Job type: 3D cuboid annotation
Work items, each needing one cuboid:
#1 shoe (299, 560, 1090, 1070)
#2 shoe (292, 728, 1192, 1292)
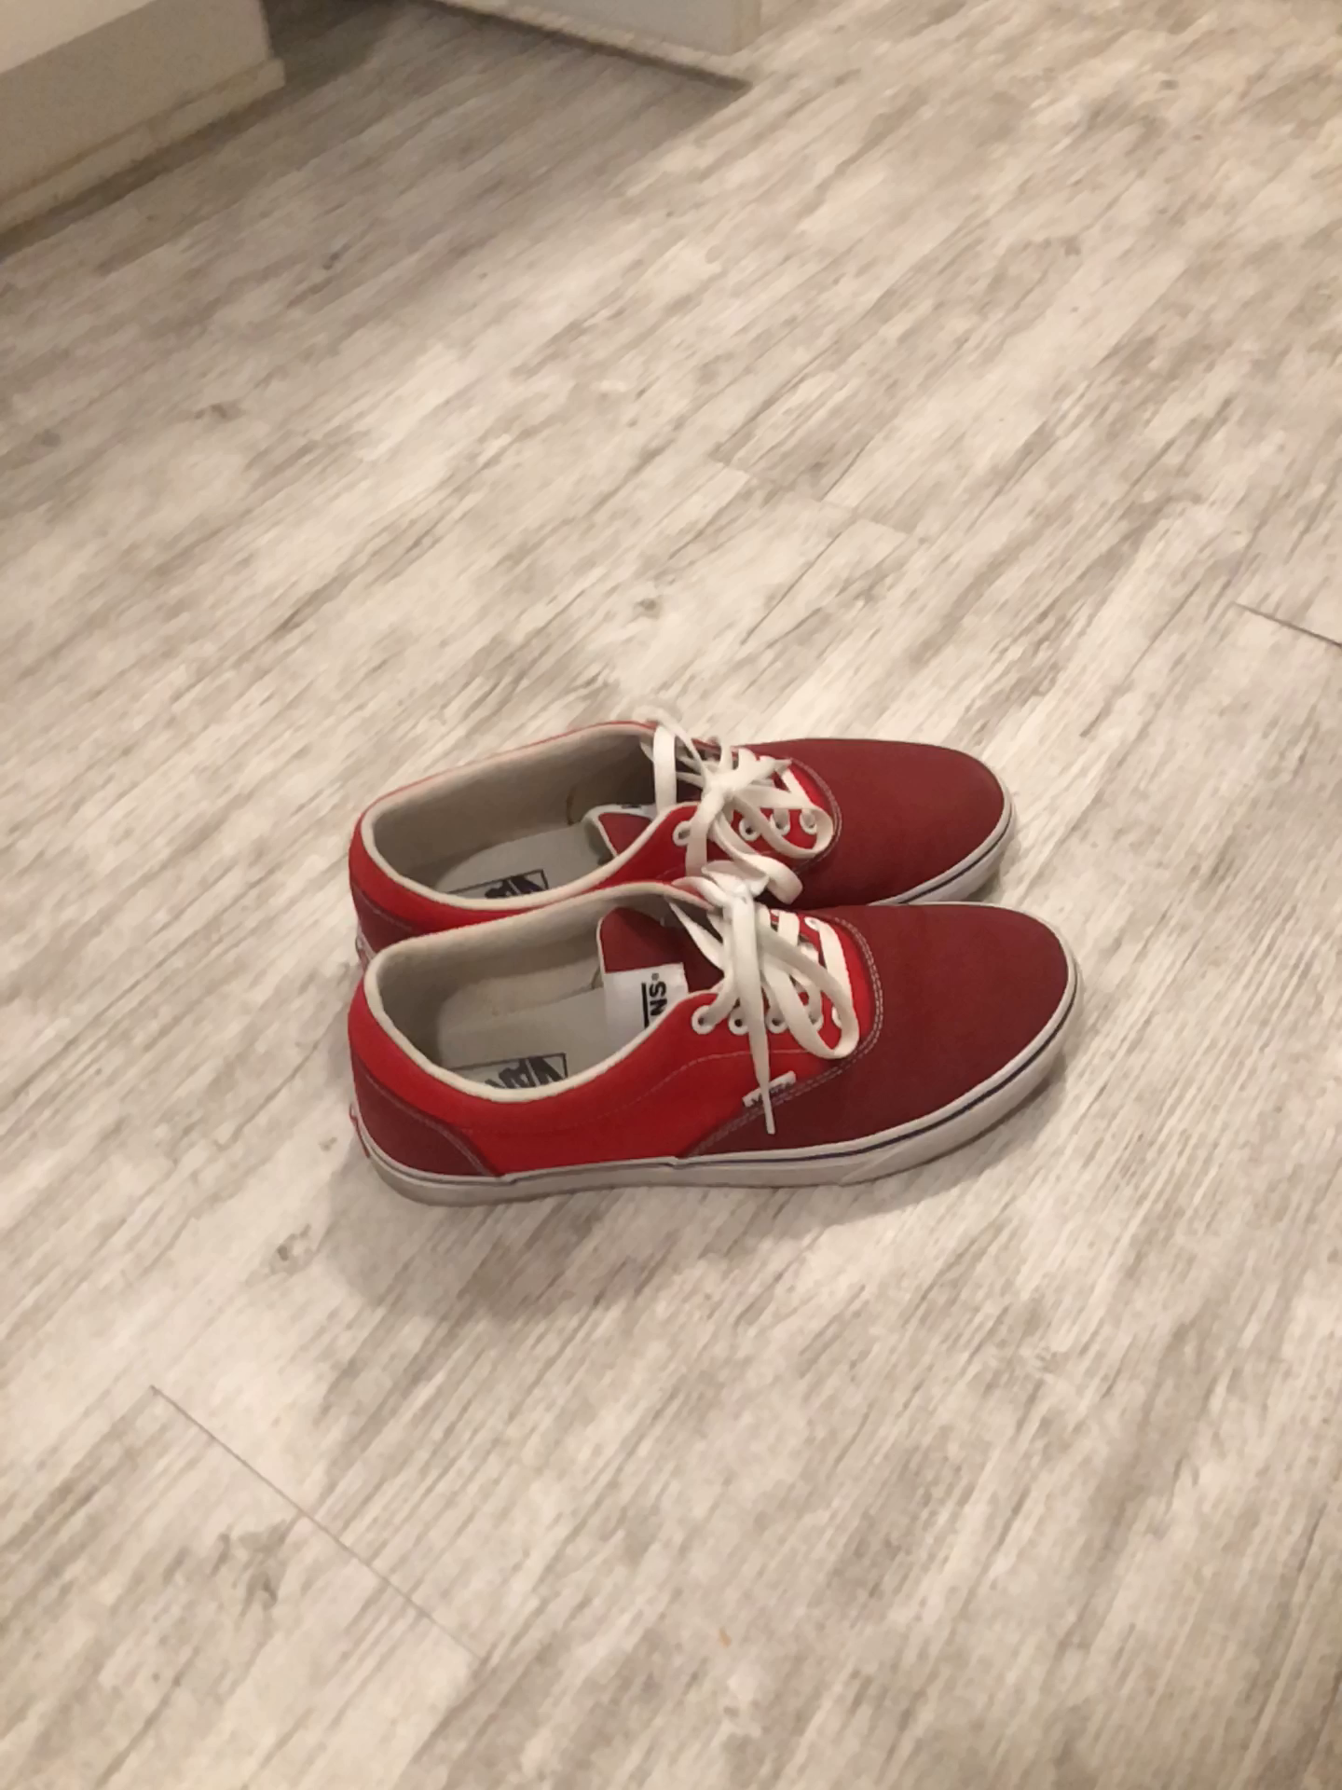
[{"bbox_3d":[0.006,-0.034,0.566,0.266,0.088,0.110,-13,52,-8],"label":"shoe"},{"bbox_3d":[0.019,0.037,0.512,0.272,0.093,0.110,-11,52,-7],"label":"shoe"}]
